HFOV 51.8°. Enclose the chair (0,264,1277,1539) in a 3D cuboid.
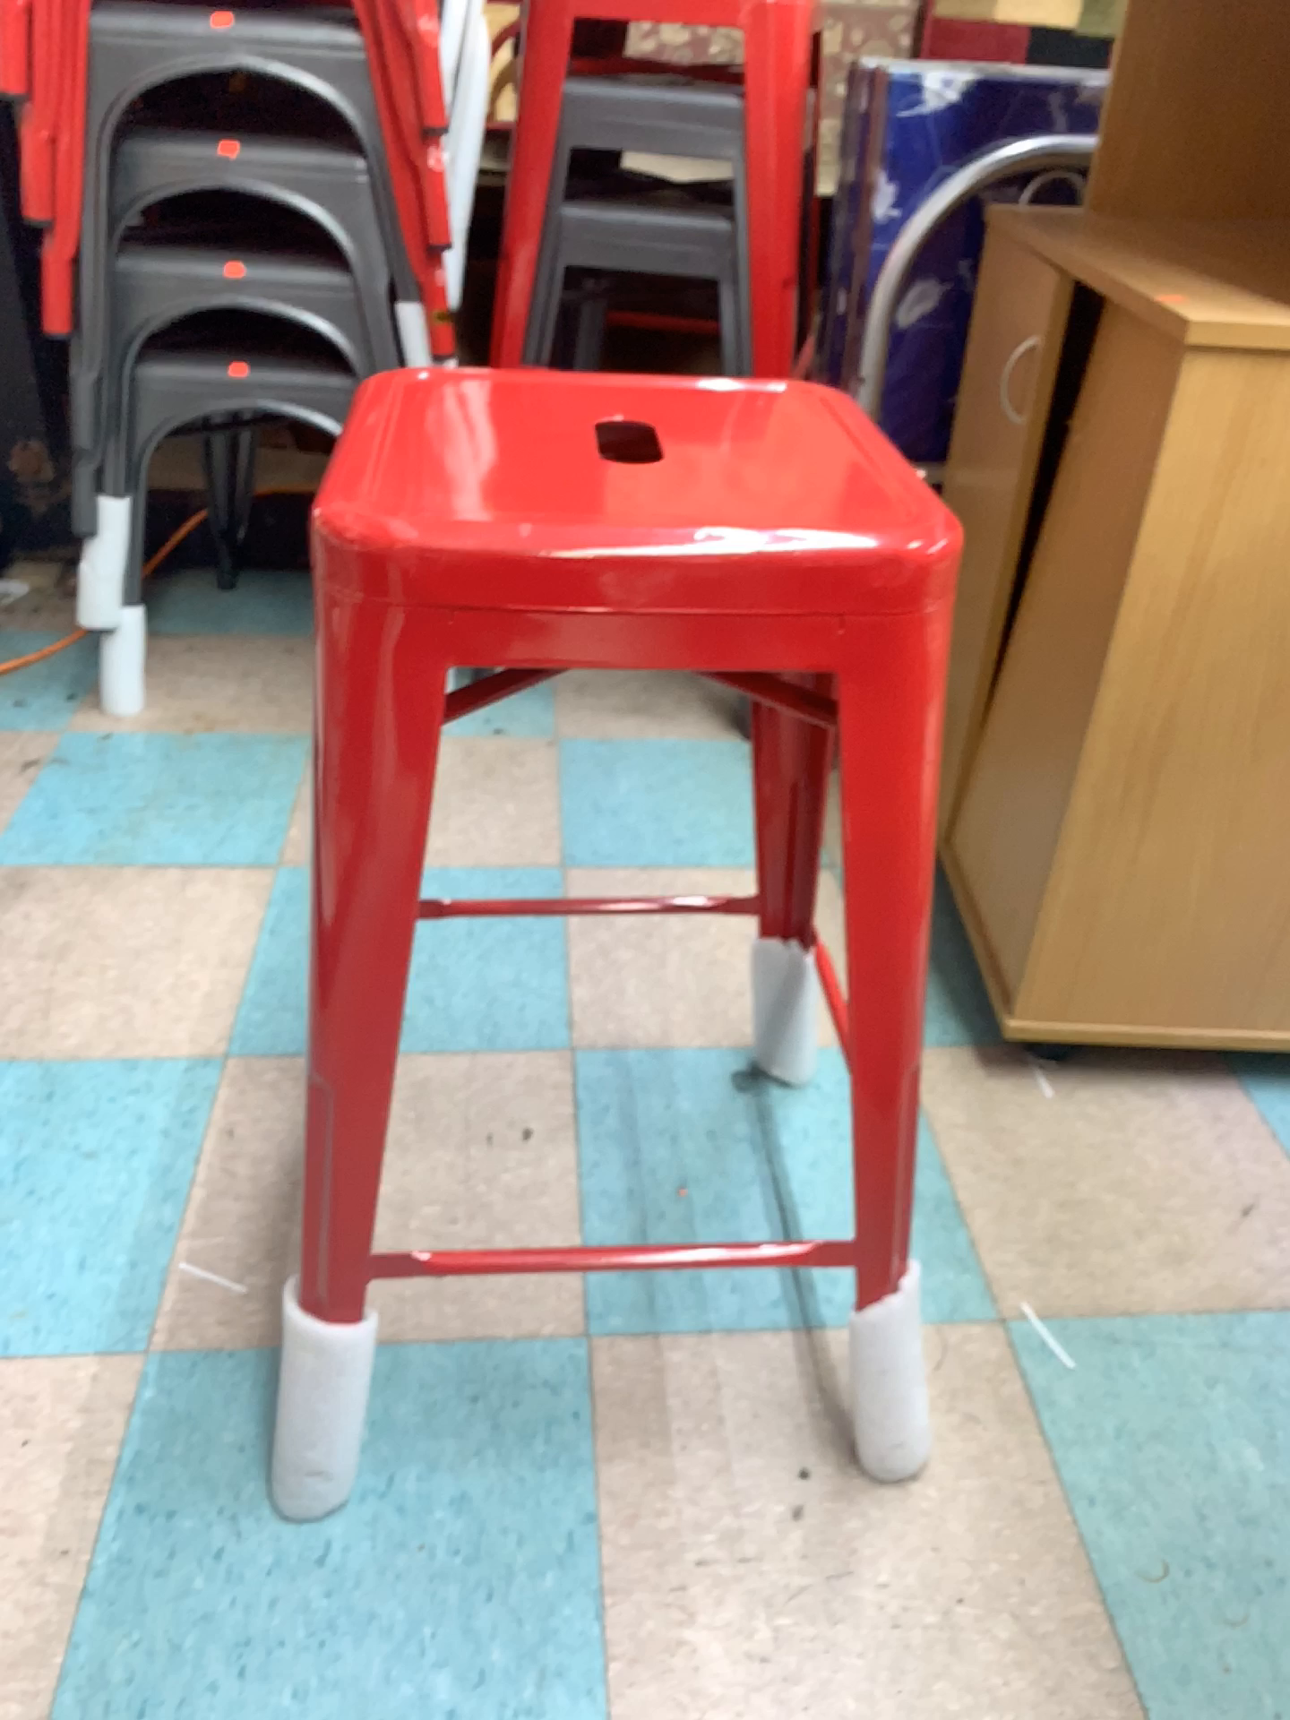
[{"bbox_3d":[-0.025,0.013,0.793,0.438,0.597,0.437,0,33,-5],"label":"chair"}]
